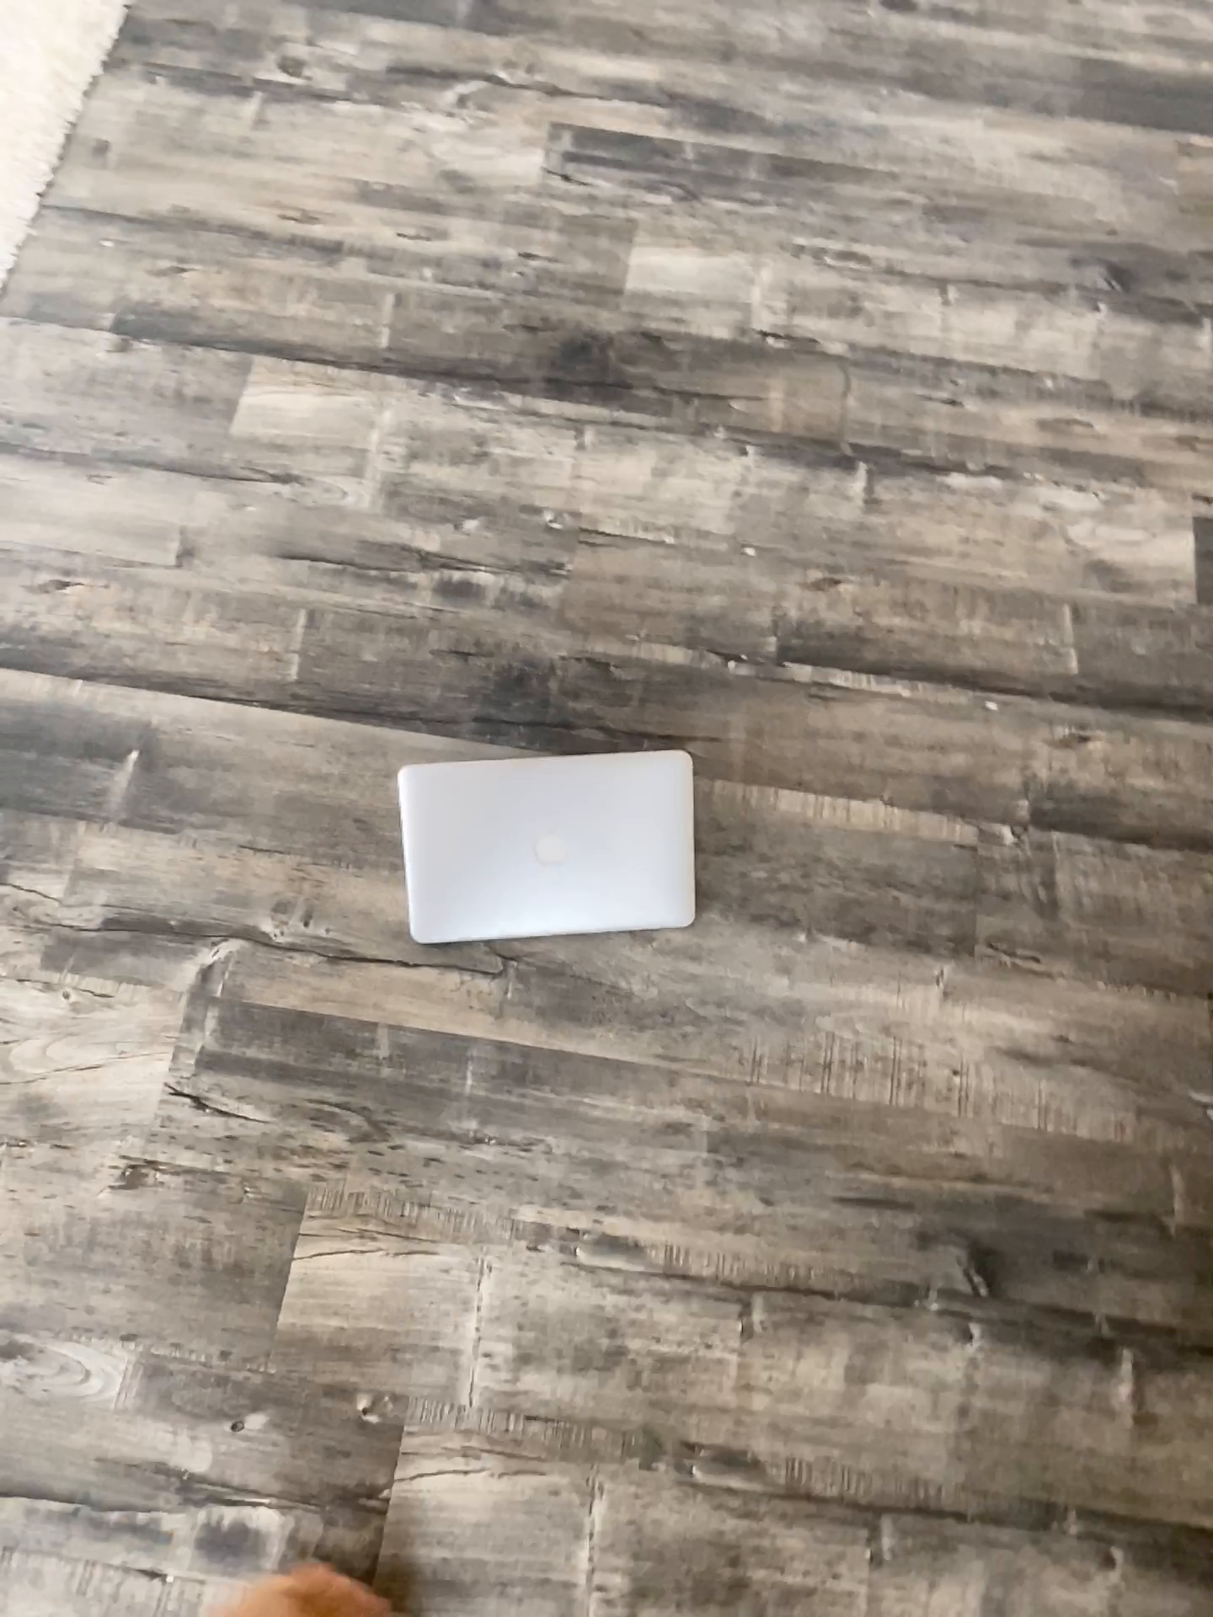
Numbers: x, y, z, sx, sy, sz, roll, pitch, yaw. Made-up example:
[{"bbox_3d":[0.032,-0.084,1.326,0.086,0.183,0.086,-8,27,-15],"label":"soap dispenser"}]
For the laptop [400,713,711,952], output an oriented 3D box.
[{"bbox_3d":[-0.051,0.024,1.156,0.270,0.113,0.173,-4,68,-3],"label":"laptop"}]
